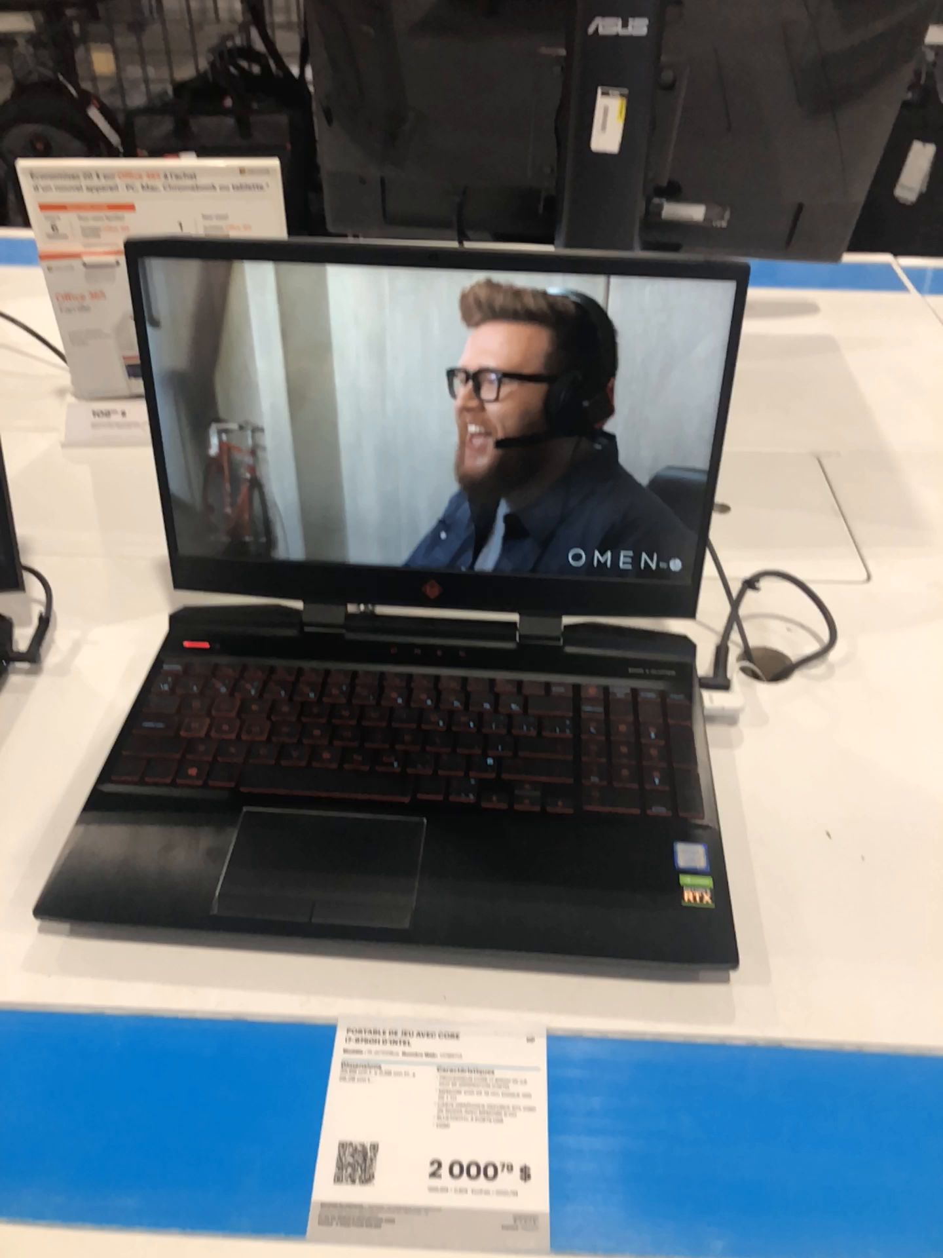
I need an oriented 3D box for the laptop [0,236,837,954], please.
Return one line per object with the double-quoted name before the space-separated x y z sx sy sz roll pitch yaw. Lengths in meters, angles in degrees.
"laptop" -0.034 -0.034 0.571 0.355 0.239 0.294 3 40 2
